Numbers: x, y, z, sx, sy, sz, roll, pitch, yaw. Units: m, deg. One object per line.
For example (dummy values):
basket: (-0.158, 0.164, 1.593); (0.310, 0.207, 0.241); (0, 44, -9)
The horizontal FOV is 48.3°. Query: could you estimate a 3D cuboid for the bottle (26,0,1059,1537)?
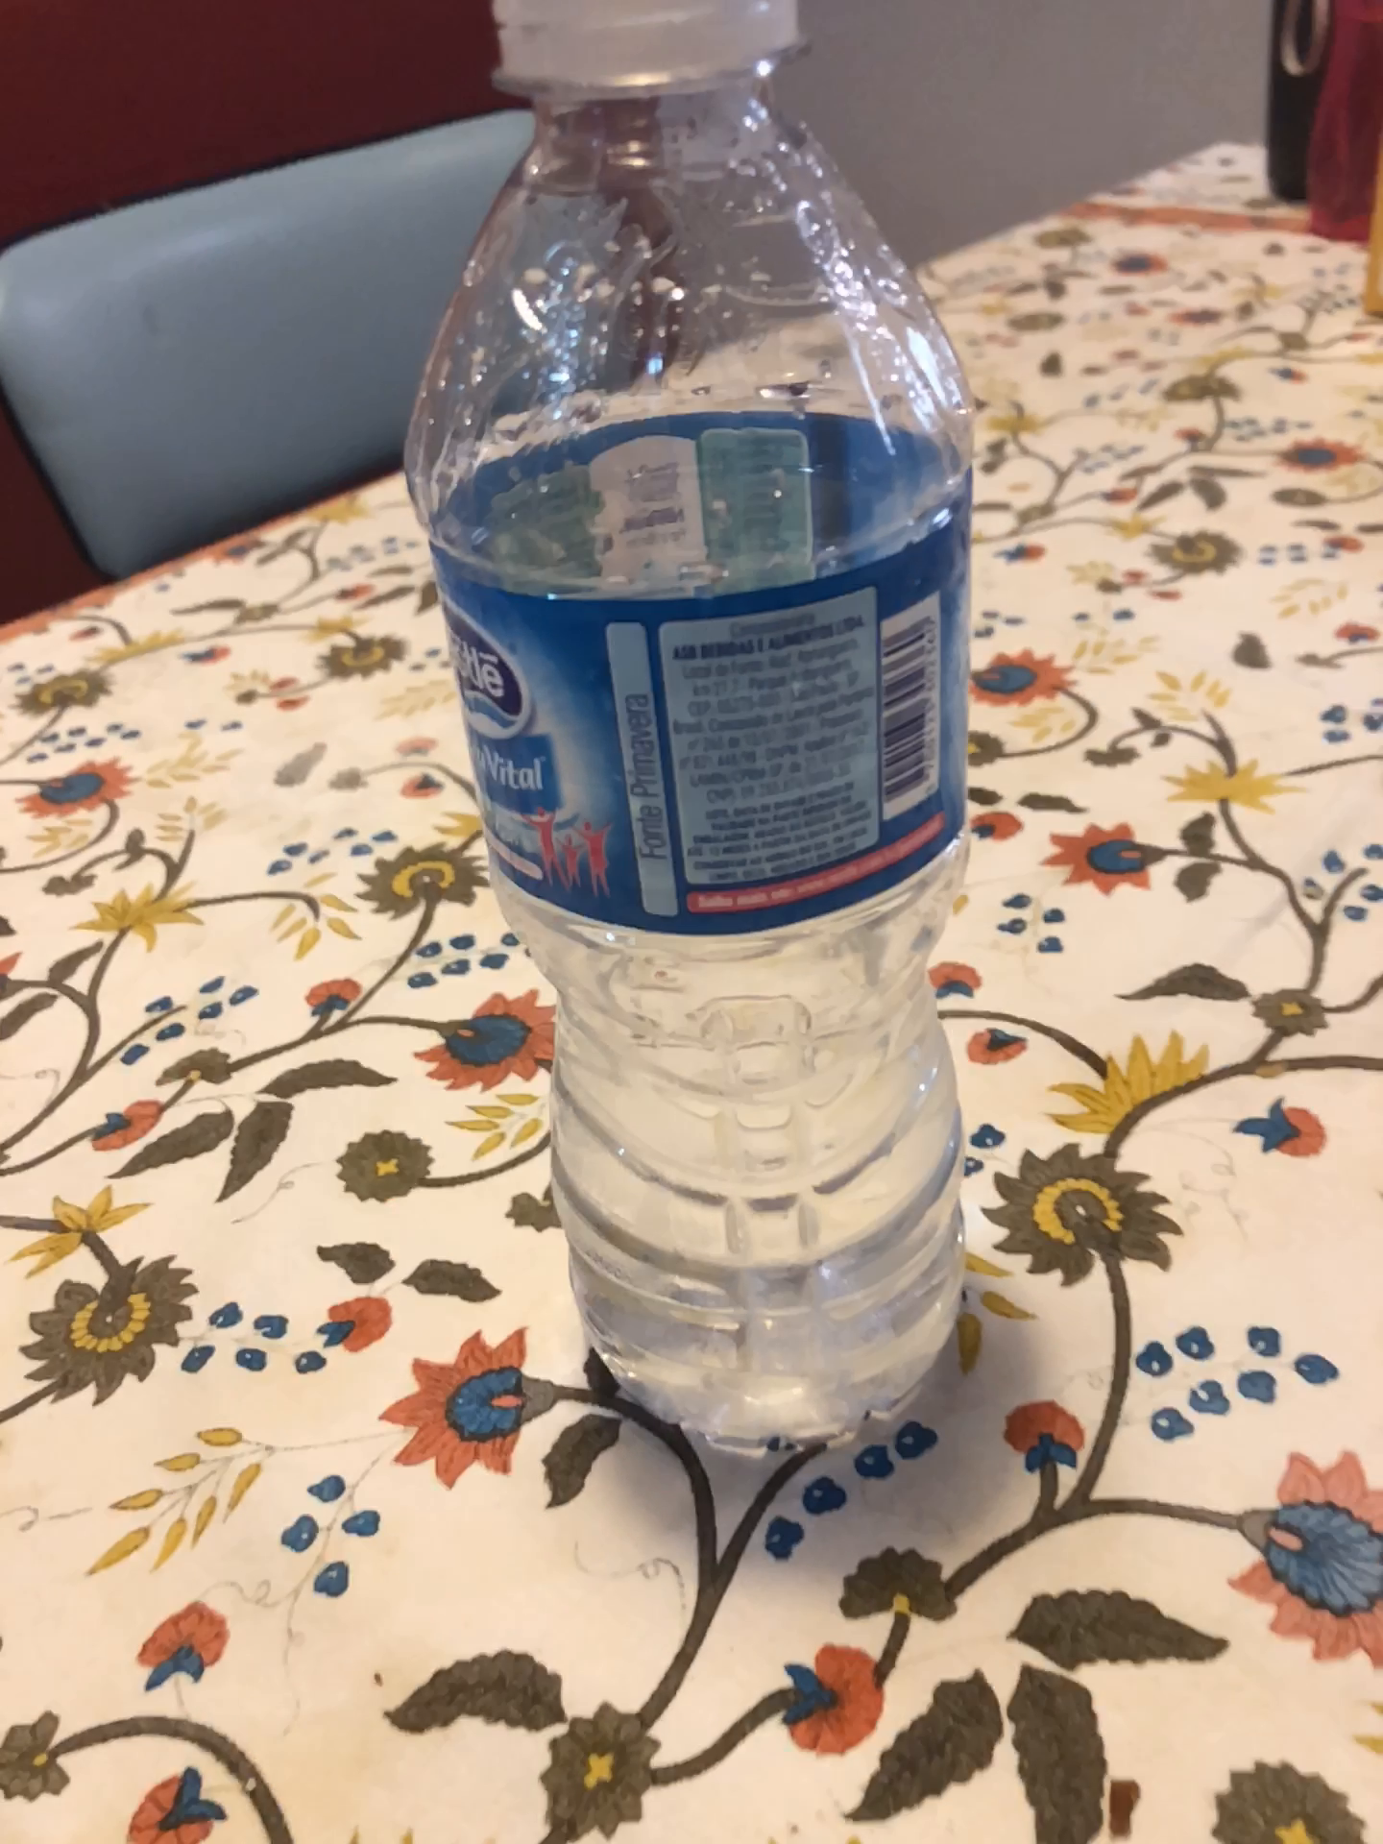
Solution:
bottle: (-0.003, -0.015, 0.182); (0.070, 0.189, 0.060); (-10, 35, -3)
